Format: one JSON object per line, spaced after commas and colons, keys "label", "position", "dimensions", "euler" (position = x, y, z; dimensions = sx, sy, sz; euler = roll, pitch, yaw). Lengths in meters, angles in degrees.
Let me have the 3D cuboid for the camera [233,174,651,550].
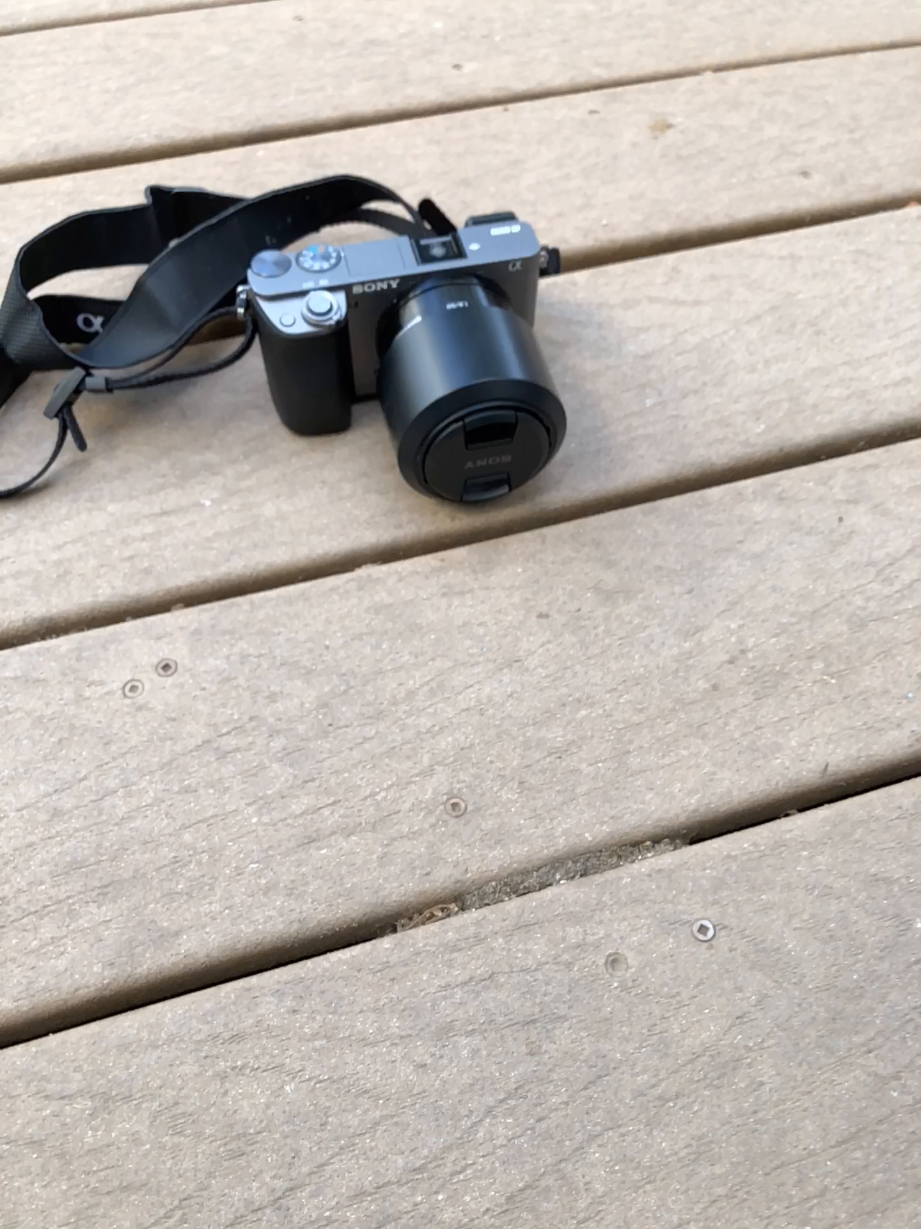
{"label": "camera", "position": [-0.012, -0.101, 0.400], "dimensions": [0.130, 0.070, 0.110], "euler": [-11, 58, -9]}
